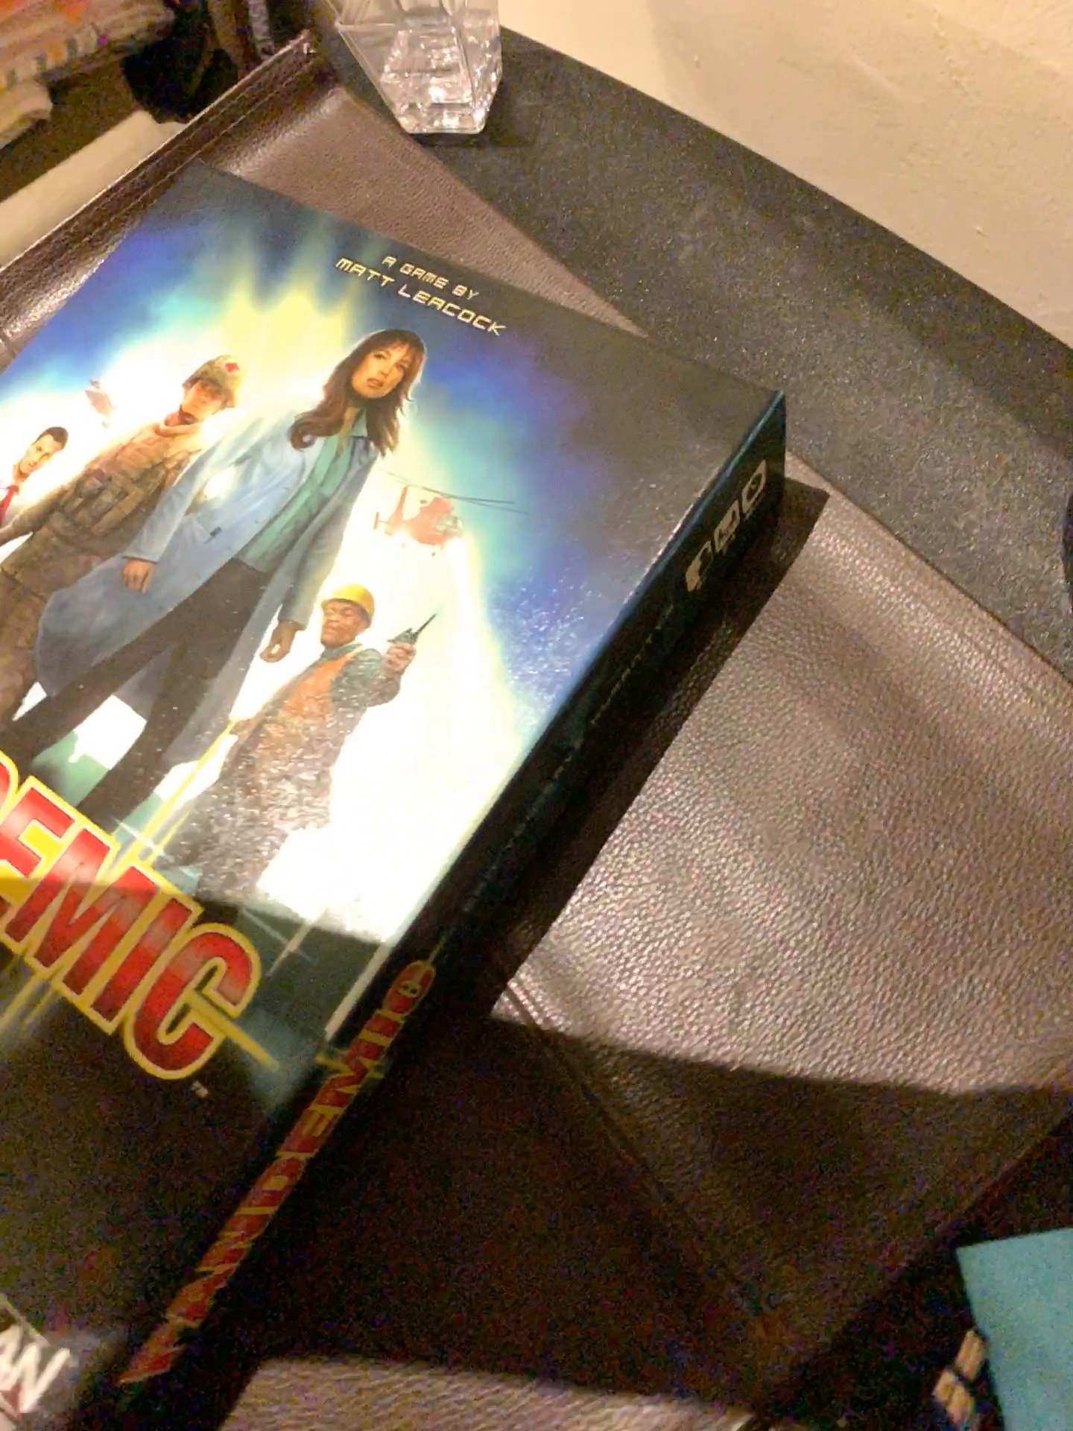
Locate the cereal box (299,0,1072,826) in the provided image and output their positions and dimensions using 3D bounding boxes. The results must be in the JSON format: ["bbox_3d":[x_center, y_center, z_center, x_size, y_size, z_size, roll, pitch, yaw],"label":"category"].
[{"bbox_3d":[0.218,-0.283,1.148,0.471,0.996,0.511,0,67,14],"label":"cereal box"}]
